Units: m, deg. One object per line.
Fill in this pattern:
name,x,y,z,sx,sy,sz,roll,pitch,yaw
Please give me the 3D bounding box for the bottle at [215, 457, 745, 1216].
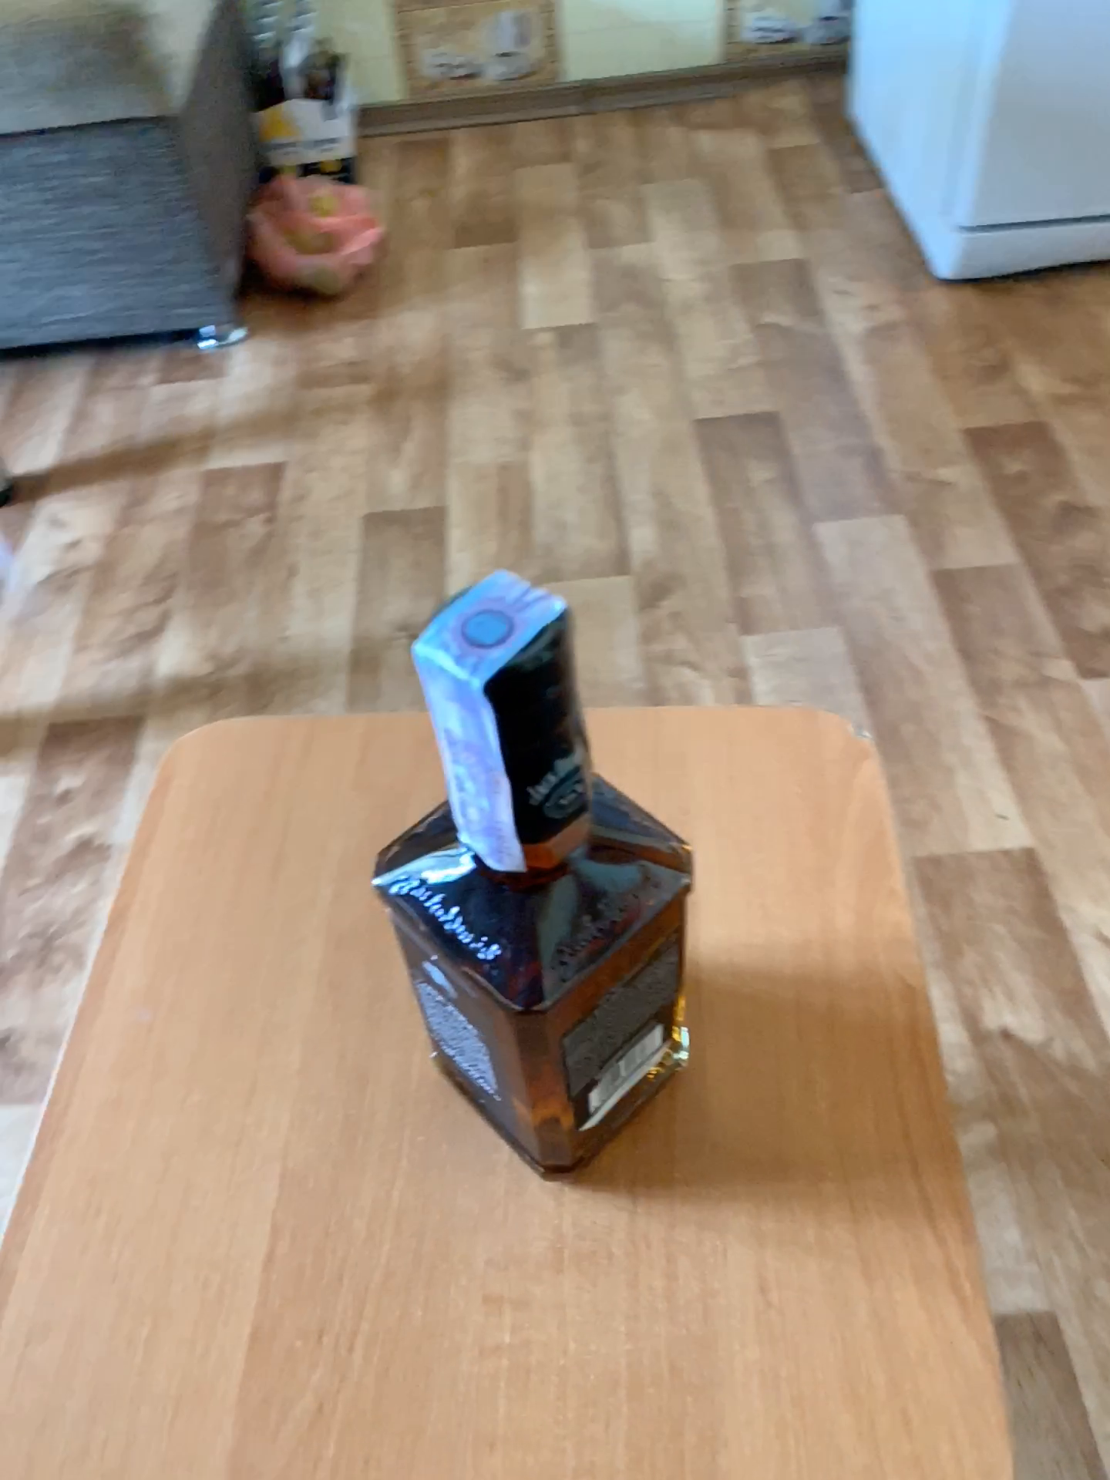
bottle,-0.008,0.042,0.320,0.080,0.209,0.080,-3,50,4
